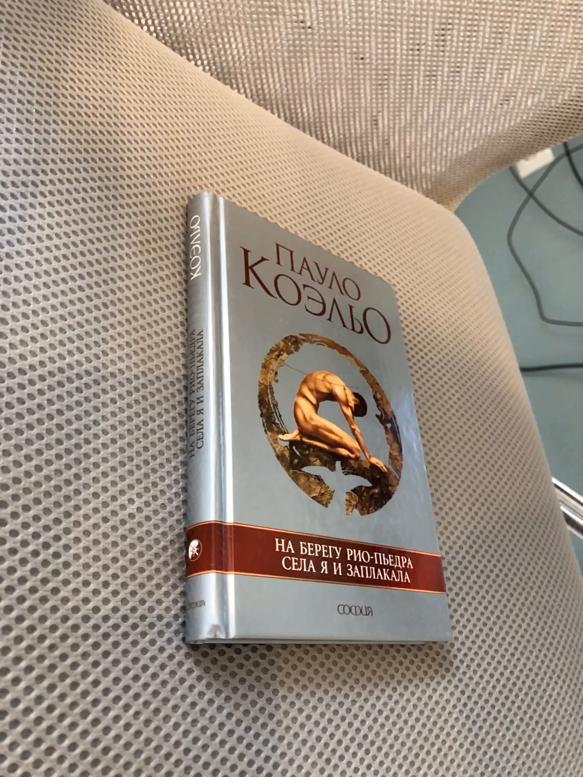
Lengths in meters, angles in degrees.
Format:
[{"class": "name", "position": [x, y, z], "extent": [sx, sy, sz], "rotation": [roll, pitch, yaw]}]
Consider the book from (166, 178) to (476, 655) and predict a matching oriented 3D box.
[{"class": "book", "position": [0.013, 0.014, 0.265], "extent": [0.131, 0.020, 0.174], "rotation": [19, 56, -38]}]
